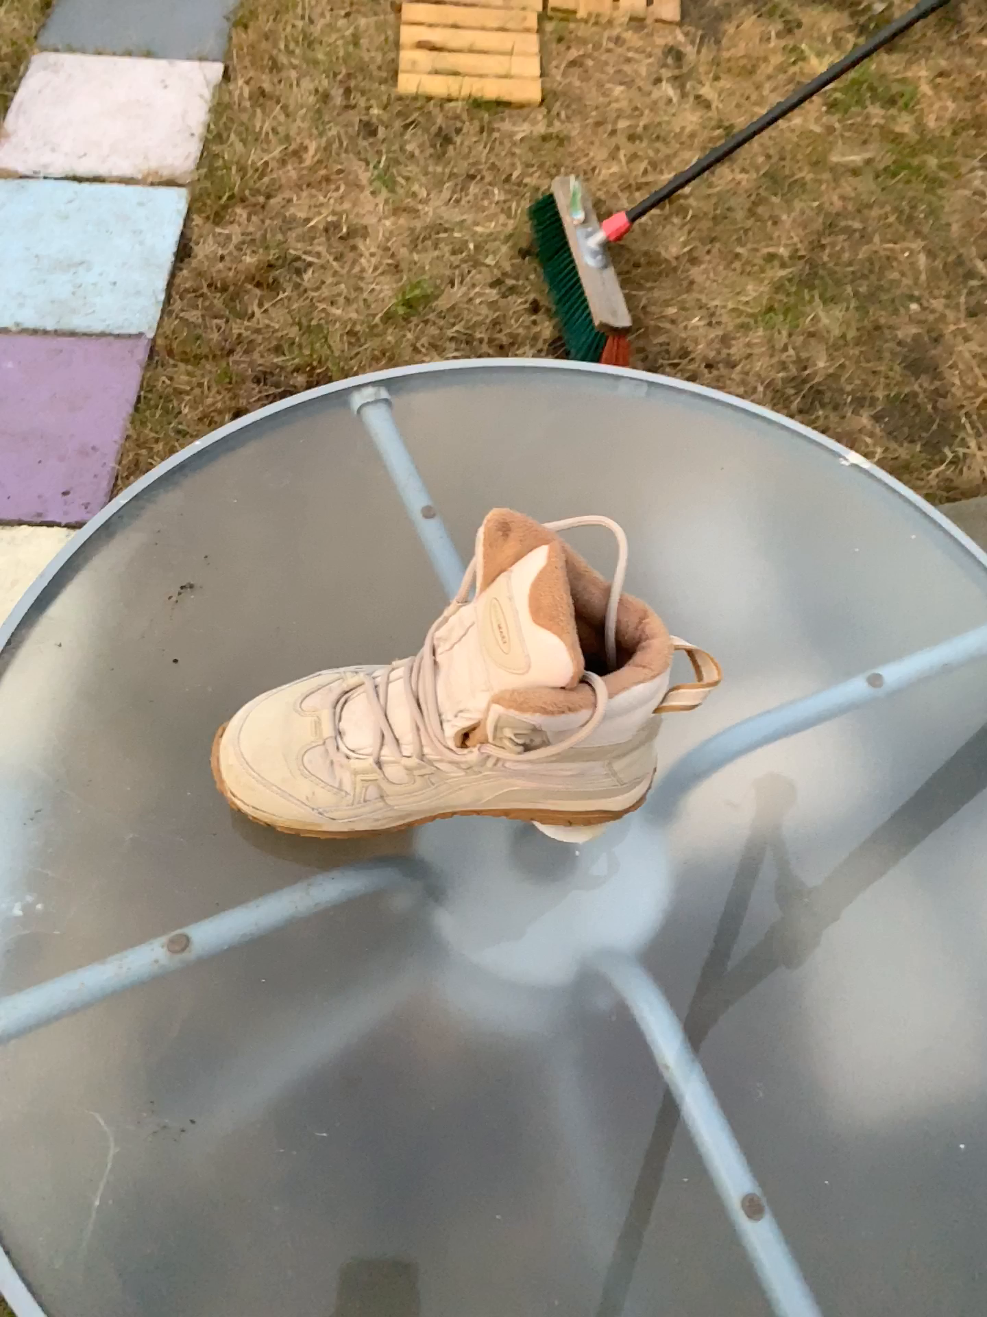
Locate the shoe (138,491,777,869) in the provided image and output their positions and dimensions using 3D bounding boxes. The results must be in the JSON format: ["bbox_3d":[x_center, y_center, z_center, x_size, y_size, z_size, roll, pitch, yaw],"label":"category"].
[{"bbox_3d":[-0.021,0.024,0.556,0.280,0.199,0.121,1,59,-4],"label":"shoe"}]
